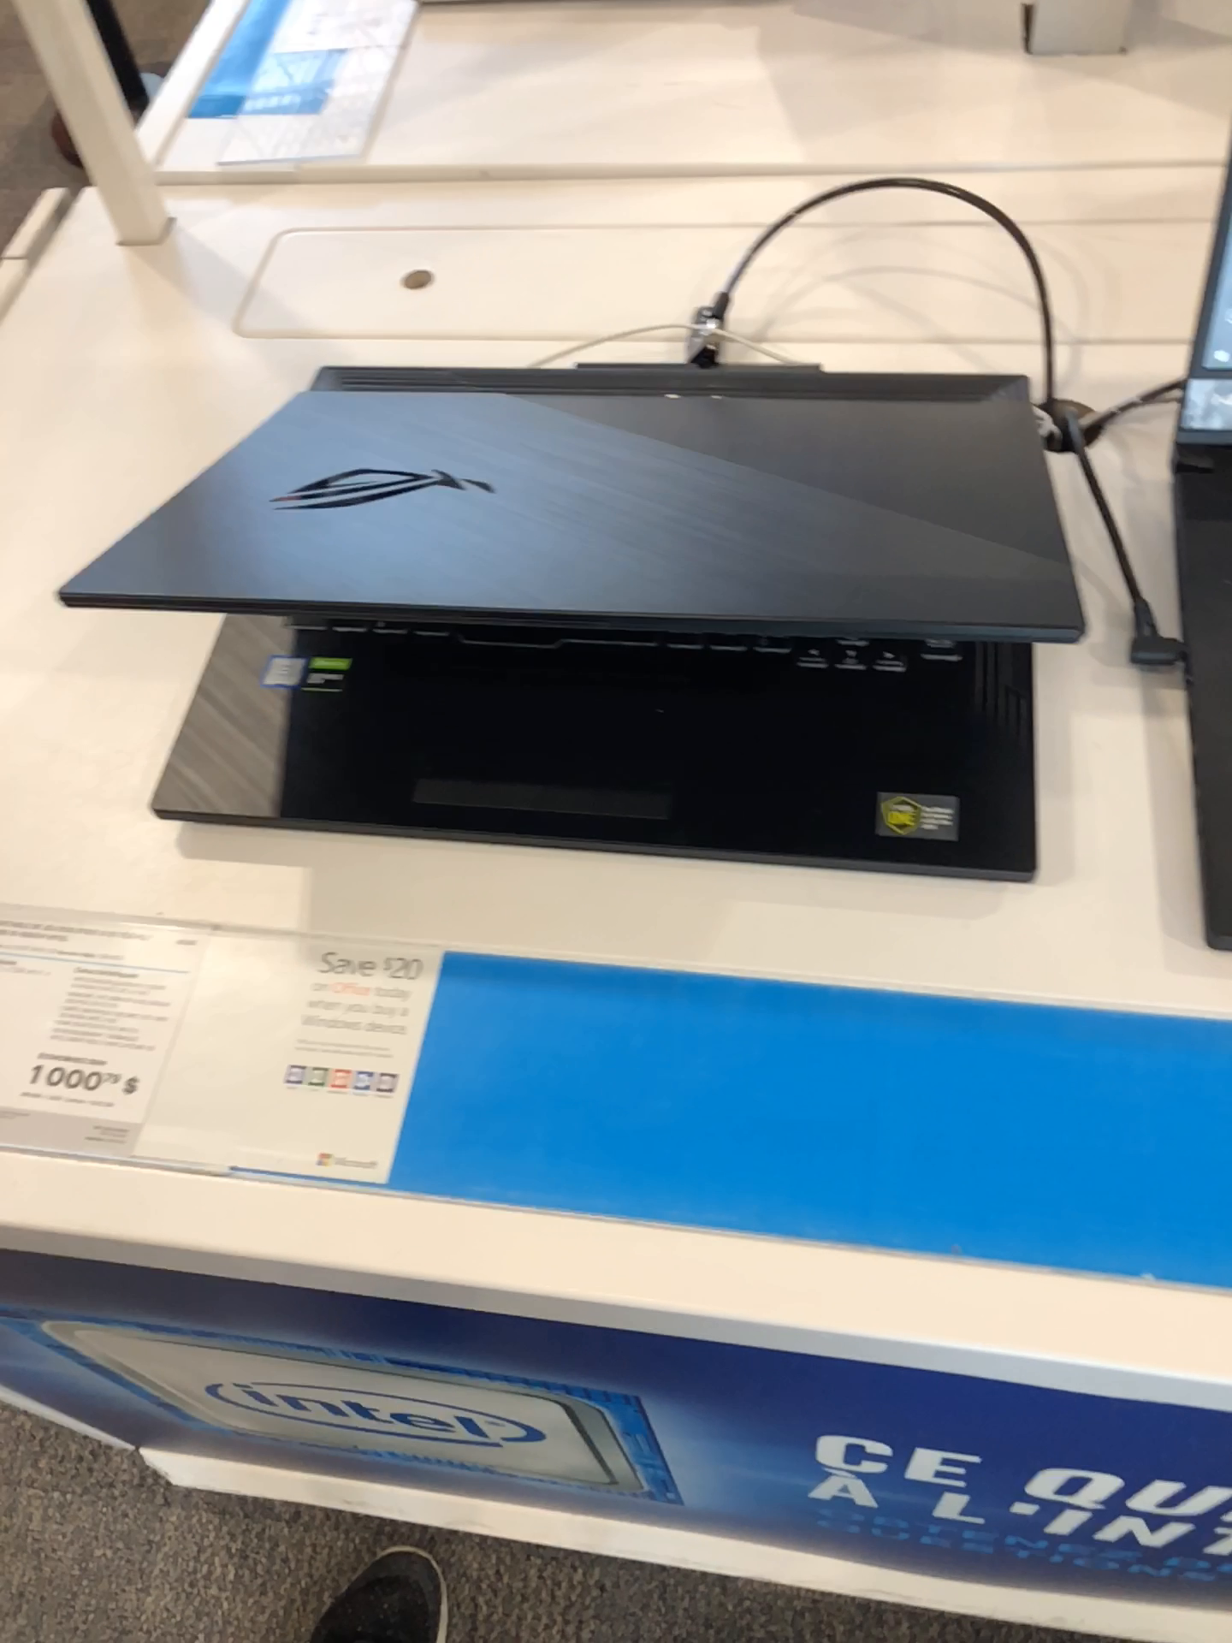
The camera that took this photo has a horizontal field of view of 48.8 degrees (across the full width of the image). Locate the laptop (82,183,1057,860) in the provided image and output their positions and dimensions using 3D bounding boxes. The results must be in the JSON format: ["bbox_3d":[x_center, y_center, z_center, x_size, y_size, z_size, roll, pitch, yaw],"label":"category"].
[{"bbox_3d":[0.000,-0.132,0.557,0.331,0.097,0.263,4,58,12],"label":"laptop"}]
